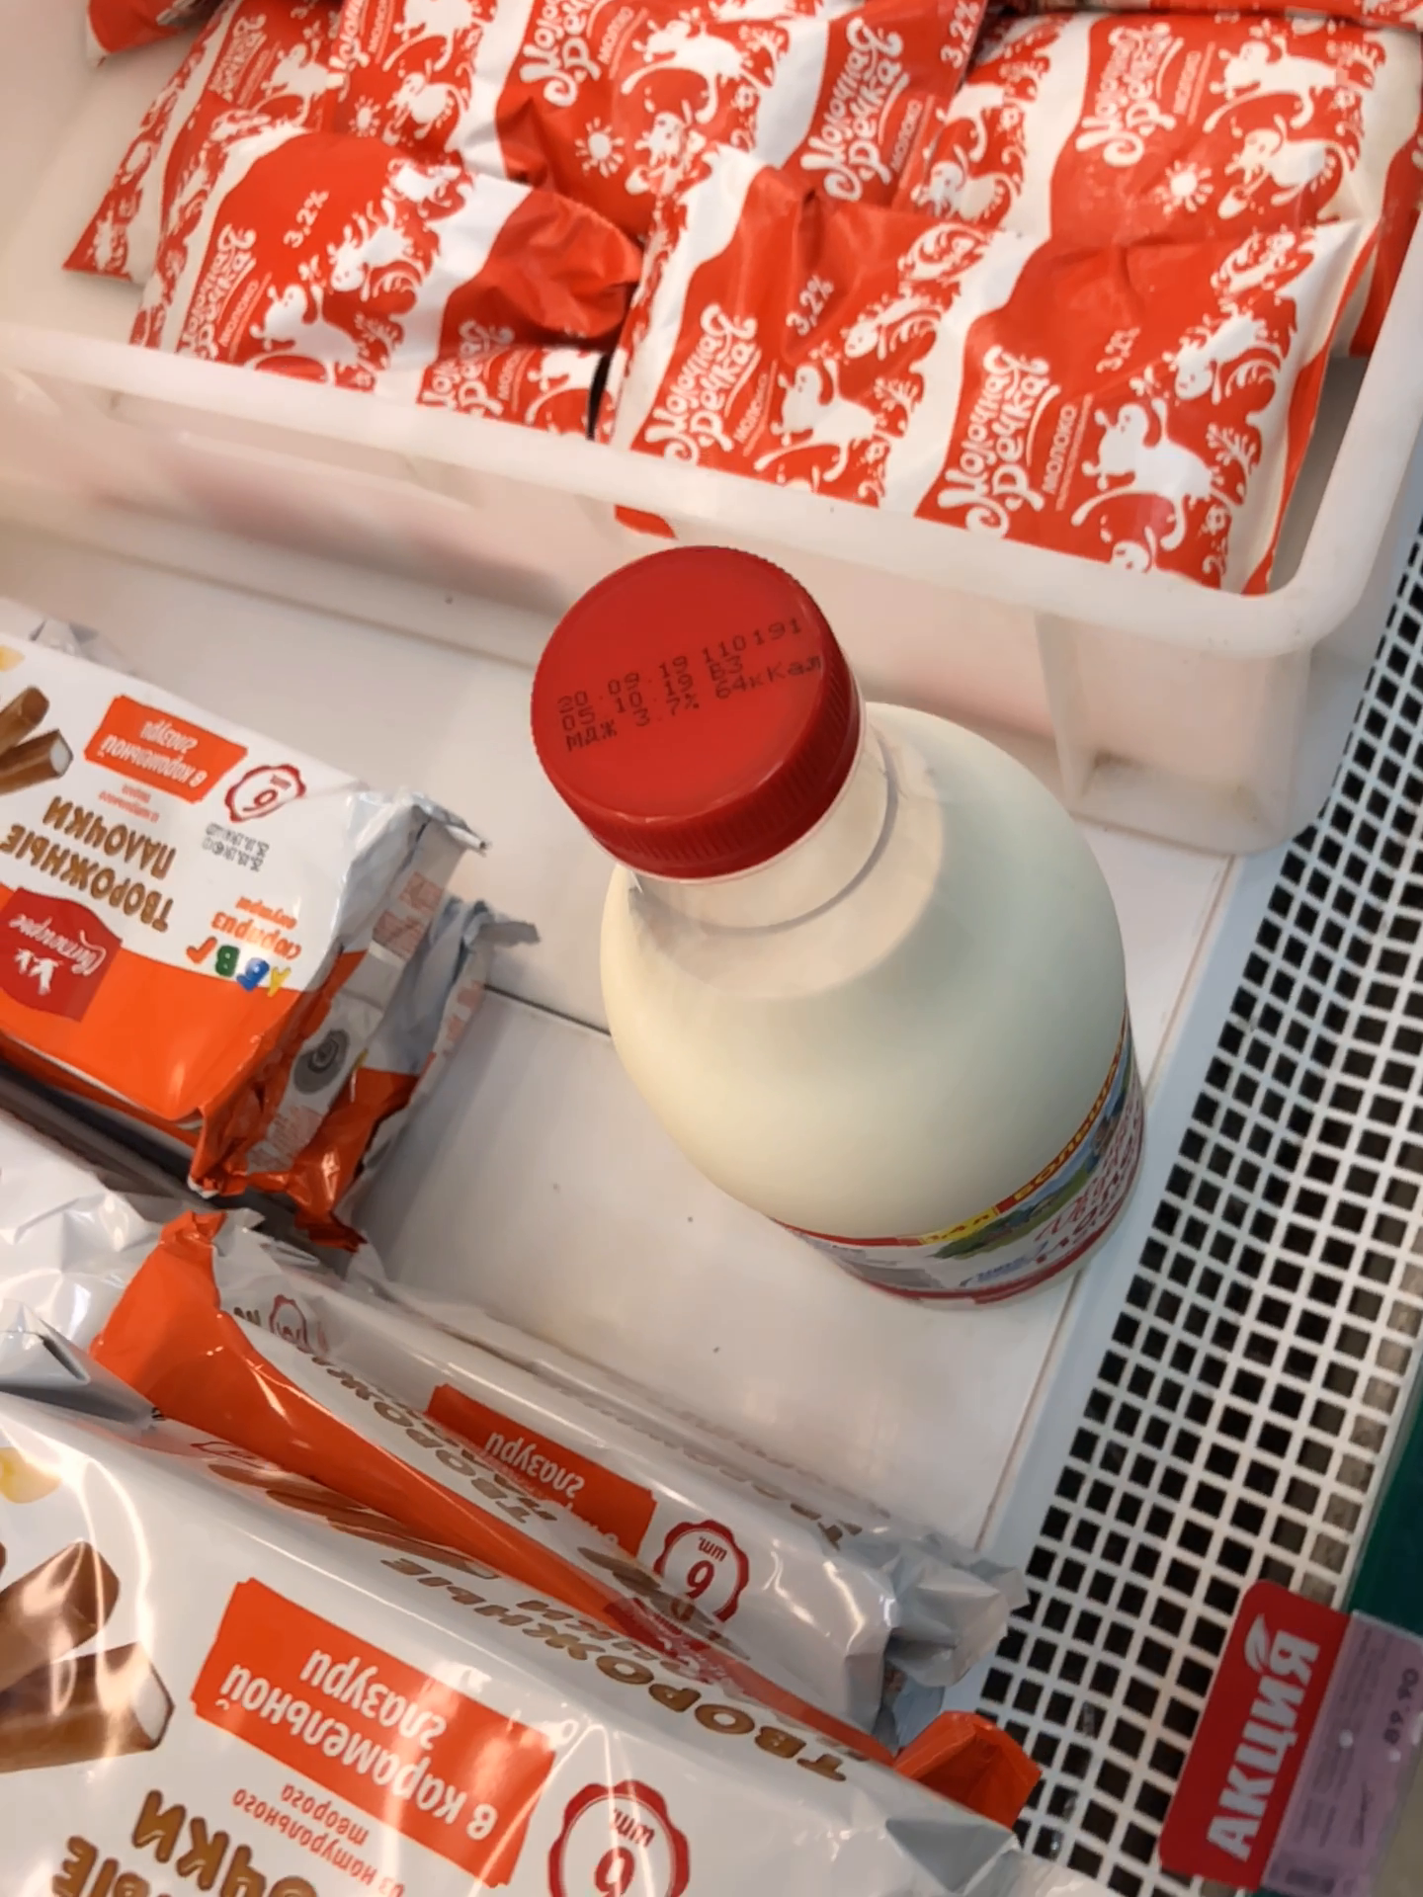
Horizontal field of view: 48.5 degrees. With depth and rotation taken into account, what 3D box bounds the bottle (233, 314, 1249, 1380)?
[{"bbox_3d":[0.036,0.008,0.313,0.100,0.249,0.100,-6,70,16],"label":"bottle"}]
